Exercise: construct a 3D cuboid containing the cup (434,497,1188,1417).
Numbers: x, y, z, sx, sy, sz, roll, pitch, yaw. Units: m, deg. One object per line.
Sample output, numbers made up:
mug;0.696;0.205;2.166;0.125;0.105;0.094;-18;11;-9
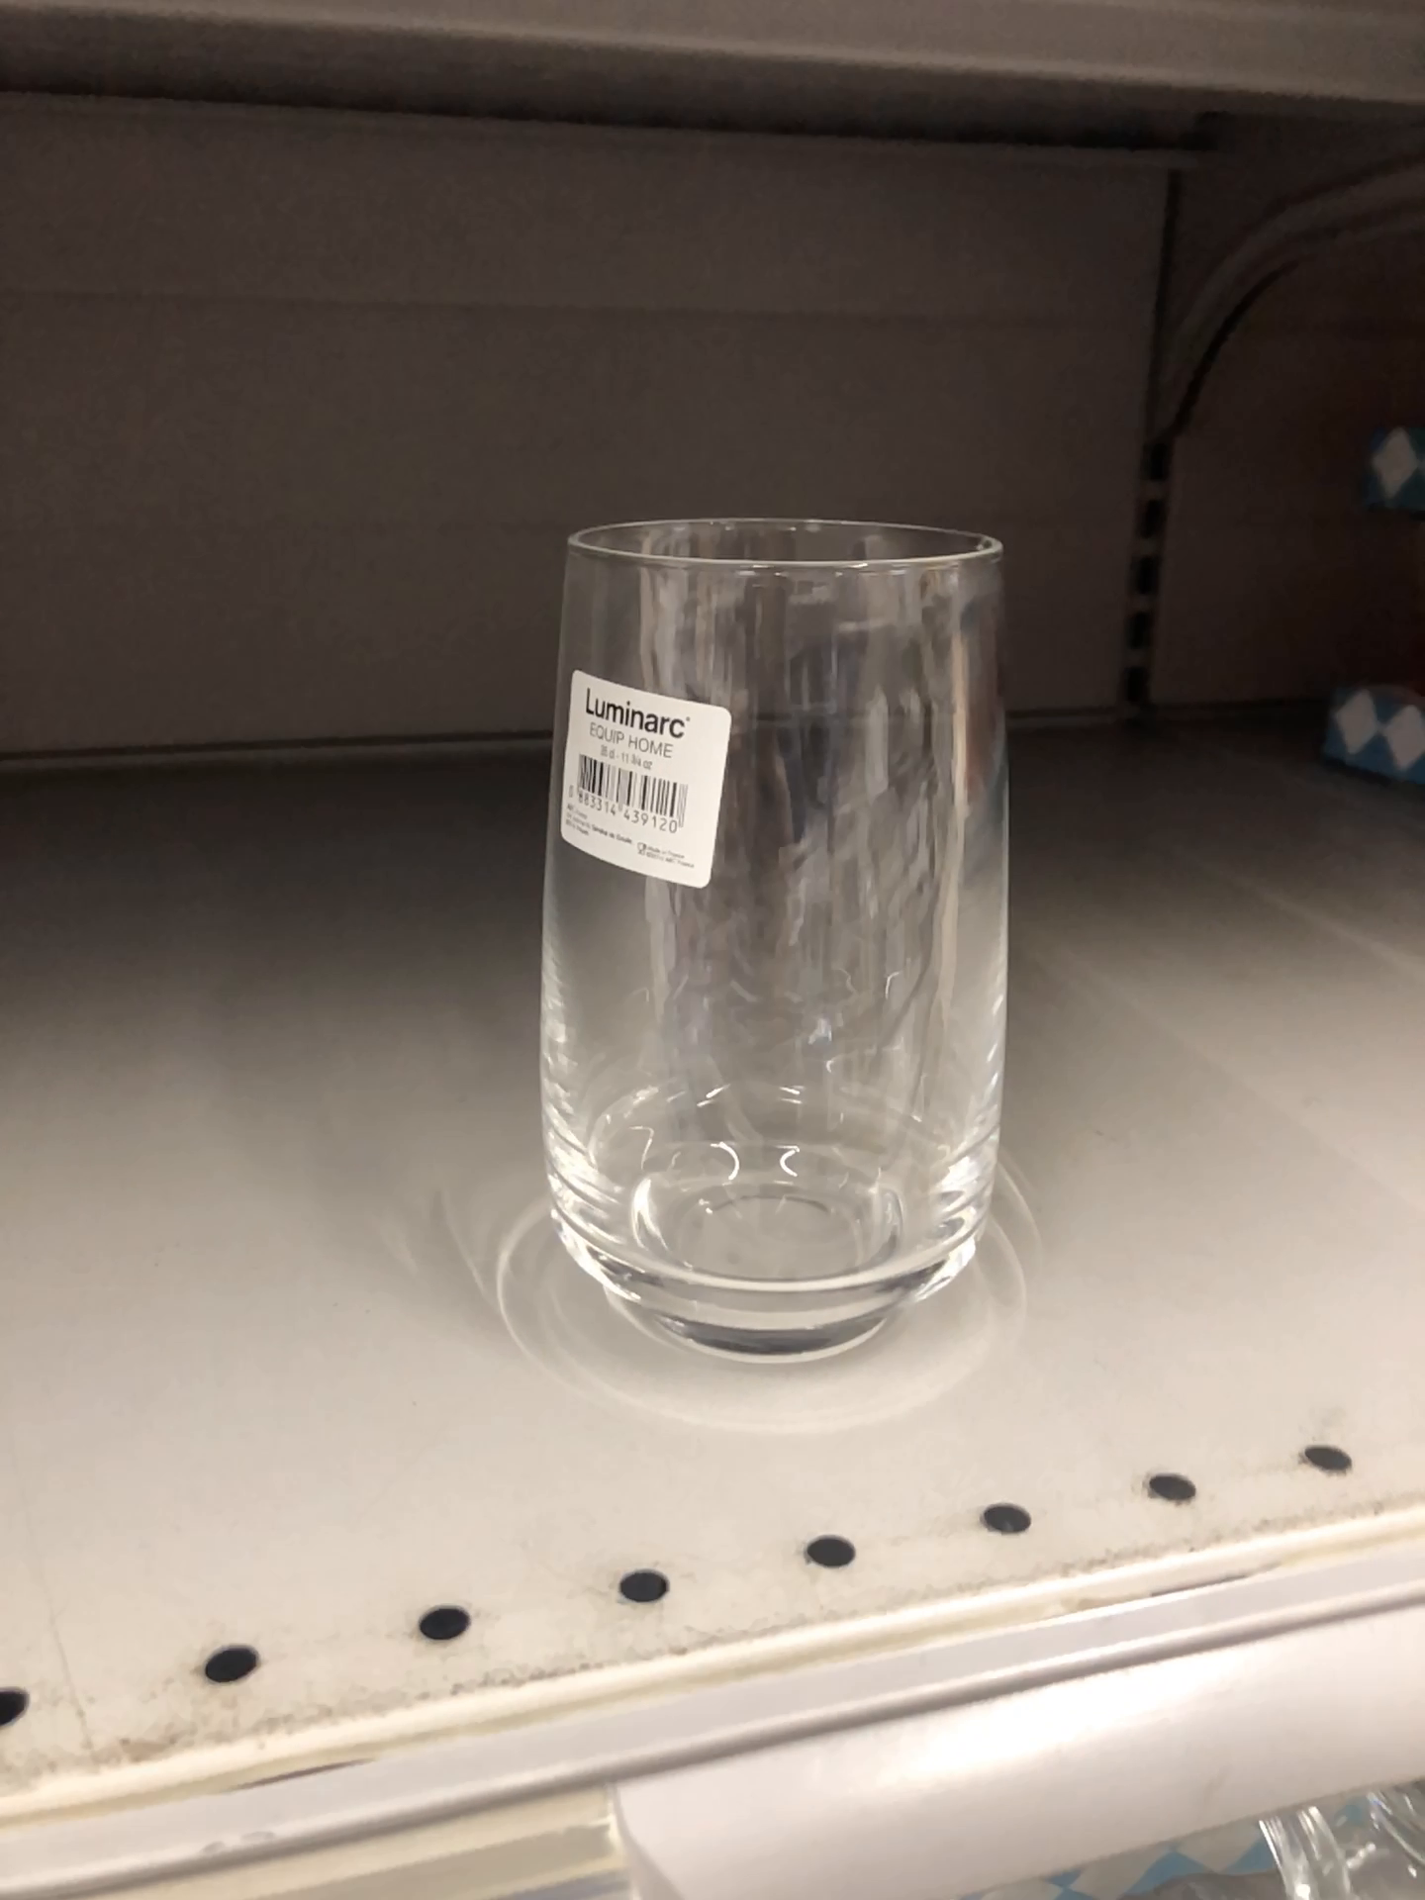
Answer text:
cup;0.012;-0.008;0.245;0.077;0.112;0.076;1;19;0
